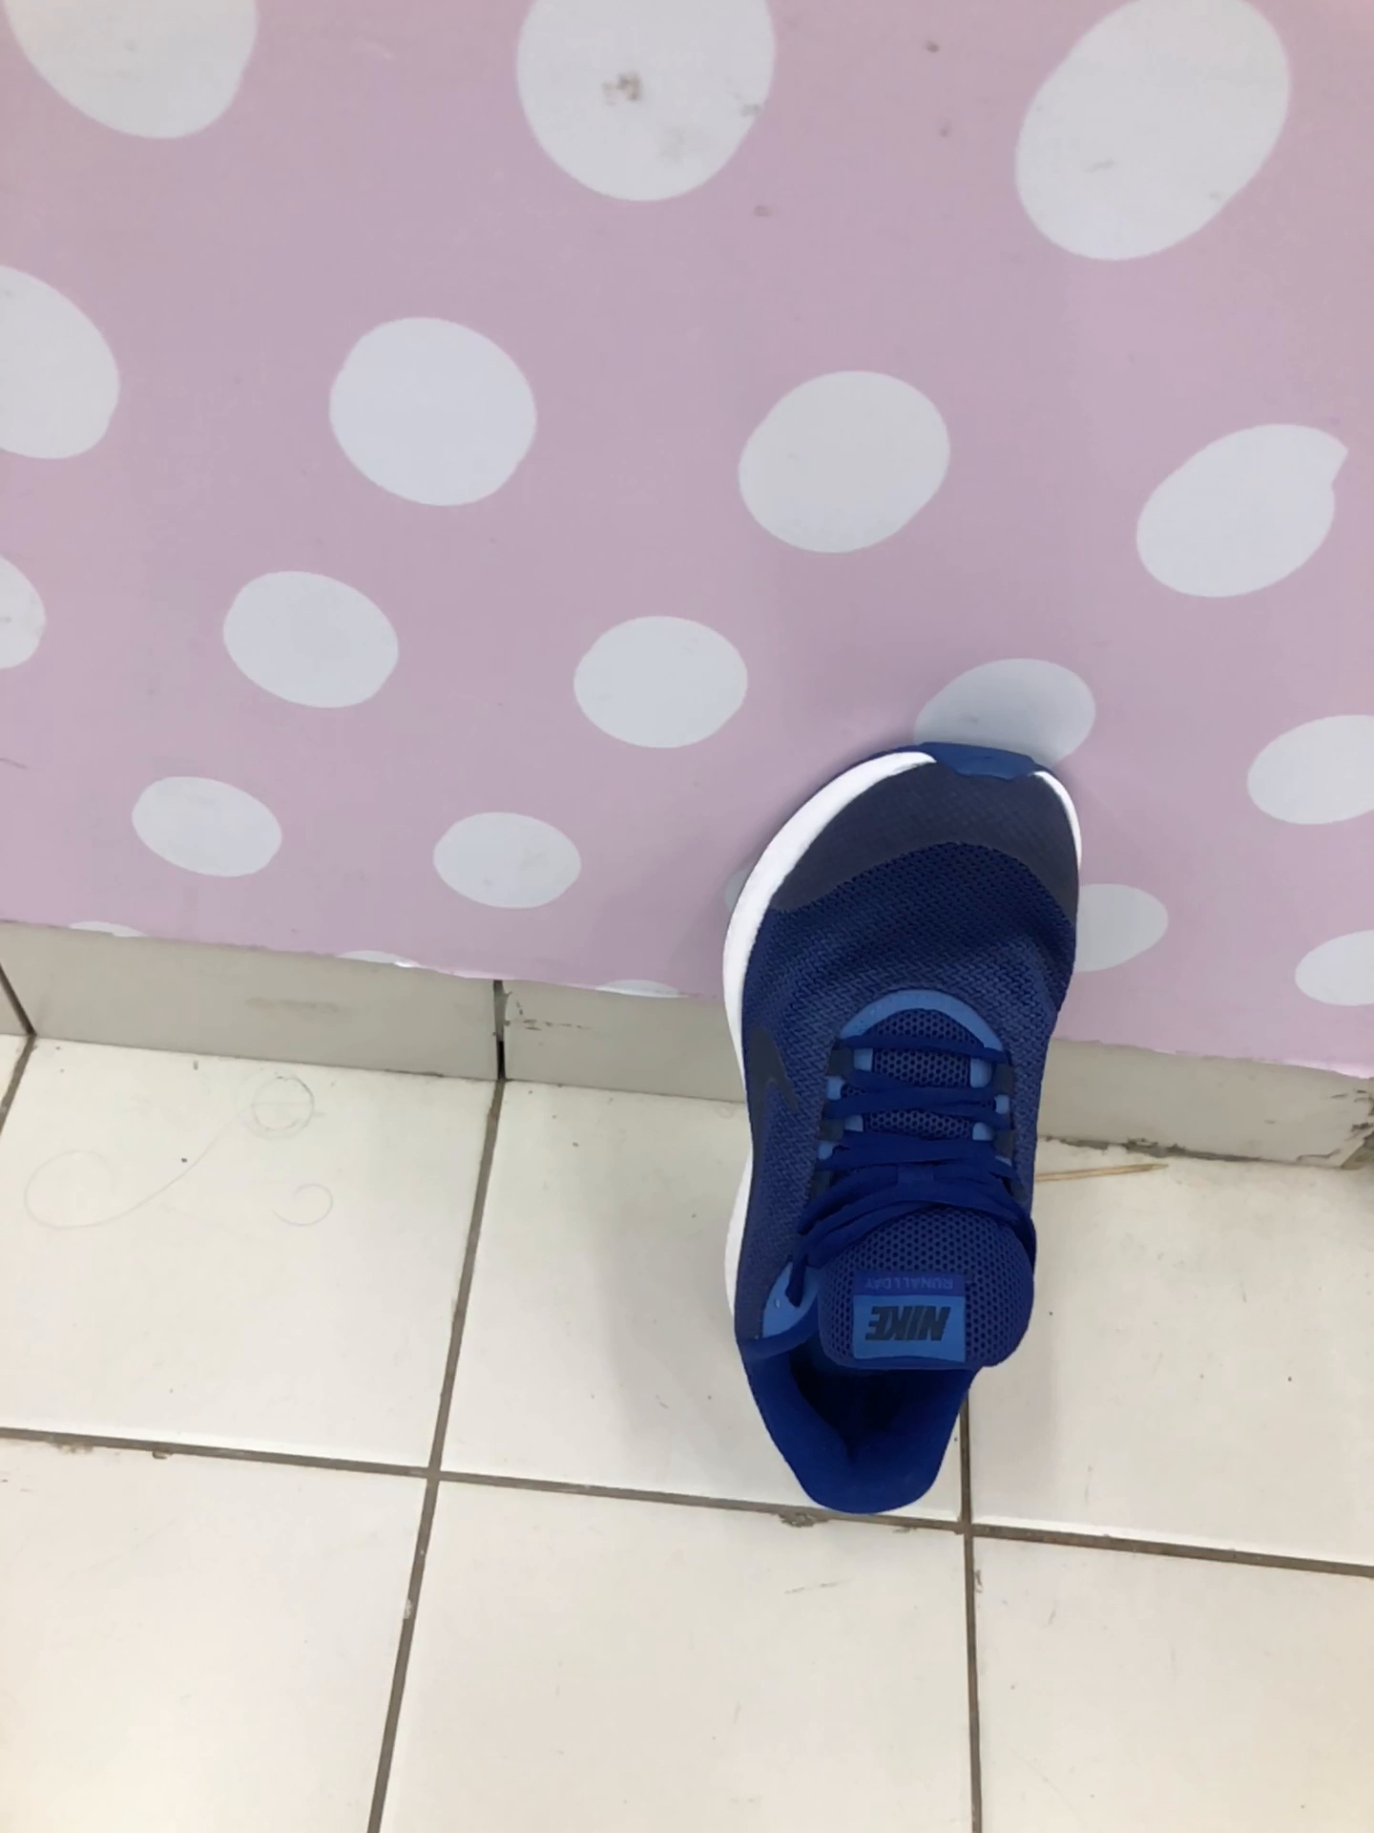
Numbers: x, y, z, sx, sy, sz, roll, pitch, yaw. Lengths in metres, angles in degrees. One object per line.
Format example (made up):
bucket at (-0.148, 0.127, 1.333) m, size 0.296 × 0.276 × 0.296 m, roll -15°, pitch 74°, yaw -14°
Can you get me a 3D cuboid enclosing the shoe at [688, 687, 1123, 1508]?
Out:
shoe at (0.061, 0.053, 0.500) m, size 0.100 × 0.239 × 0.110 m, roll 3°, pitch 13°, yaw -4°
